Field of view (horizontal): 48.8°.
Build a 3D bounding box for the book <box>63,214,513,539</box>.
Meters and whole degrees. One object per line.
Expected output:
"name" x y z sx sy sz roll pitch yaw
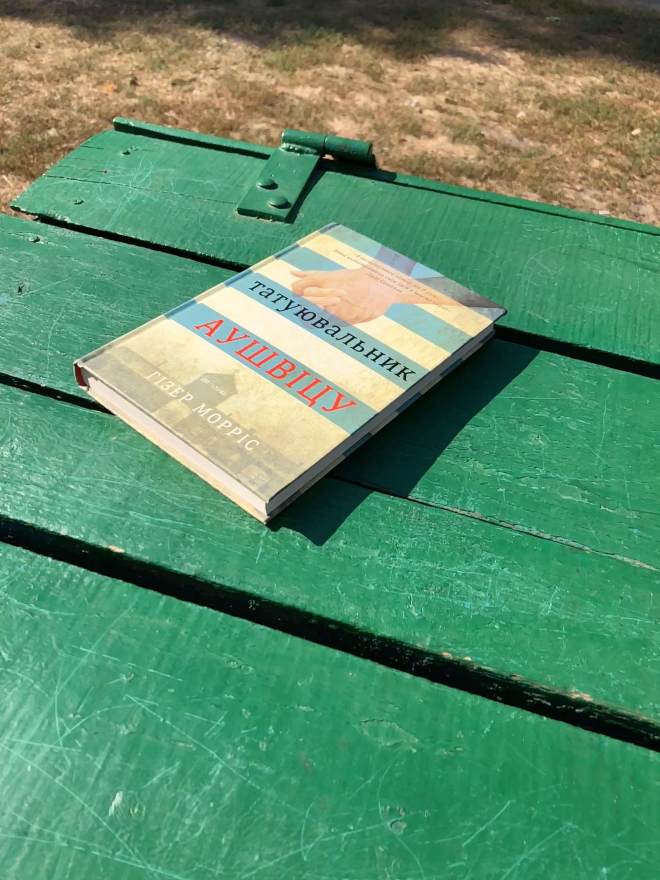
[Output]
"book" -0.015 -0.055 0.416 0.148 0.020 0.213 34 52 24
